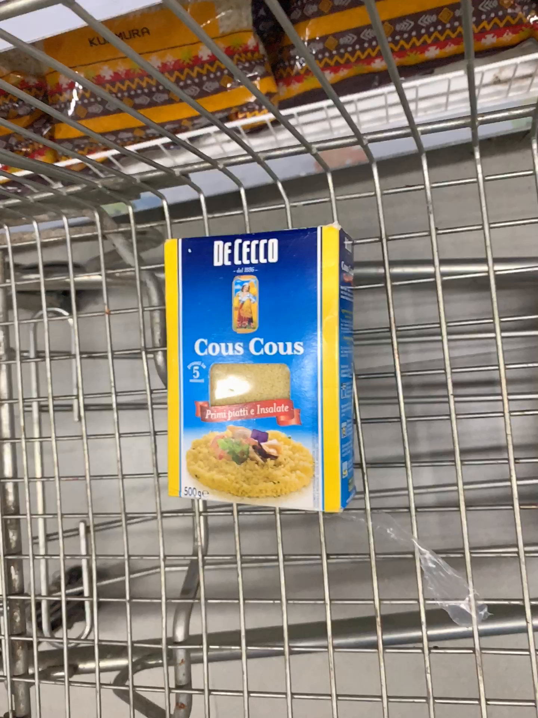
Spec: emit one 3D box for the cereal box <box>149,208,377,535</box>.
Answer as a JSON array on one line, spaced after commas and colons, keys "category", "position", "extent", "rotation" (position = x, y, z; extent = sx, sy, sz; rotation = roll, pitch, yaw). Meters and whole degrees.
[{"category": "cereal box", "position": [-0.003, 0.006, 0.317], "extent": [0.120, 0.050, 0.160], "rotation": [0, 89, 21]}]
